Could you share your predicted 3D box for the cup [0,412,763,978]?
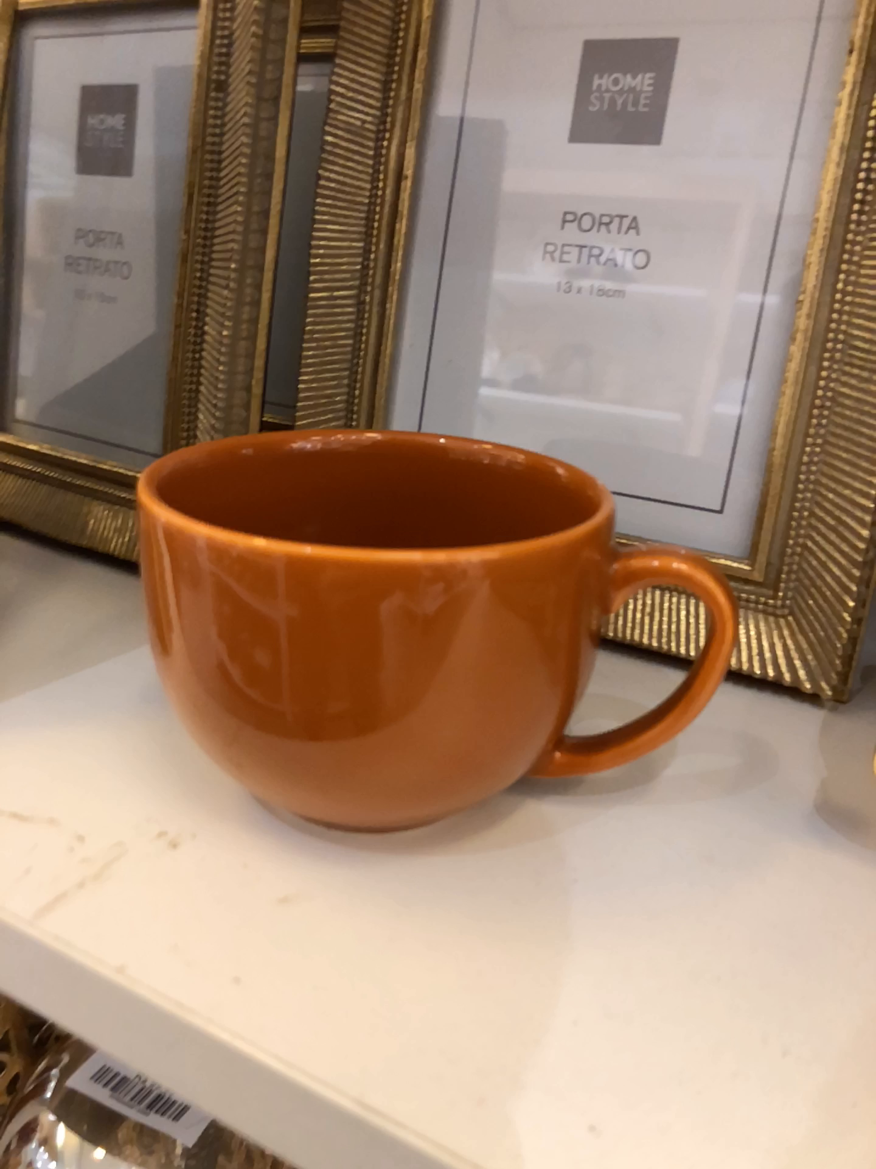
[{"bbox_3d":[-0.004,0.009,0.193,0.120,0.060,0.091,7,22,13],"label":"cup"}]
